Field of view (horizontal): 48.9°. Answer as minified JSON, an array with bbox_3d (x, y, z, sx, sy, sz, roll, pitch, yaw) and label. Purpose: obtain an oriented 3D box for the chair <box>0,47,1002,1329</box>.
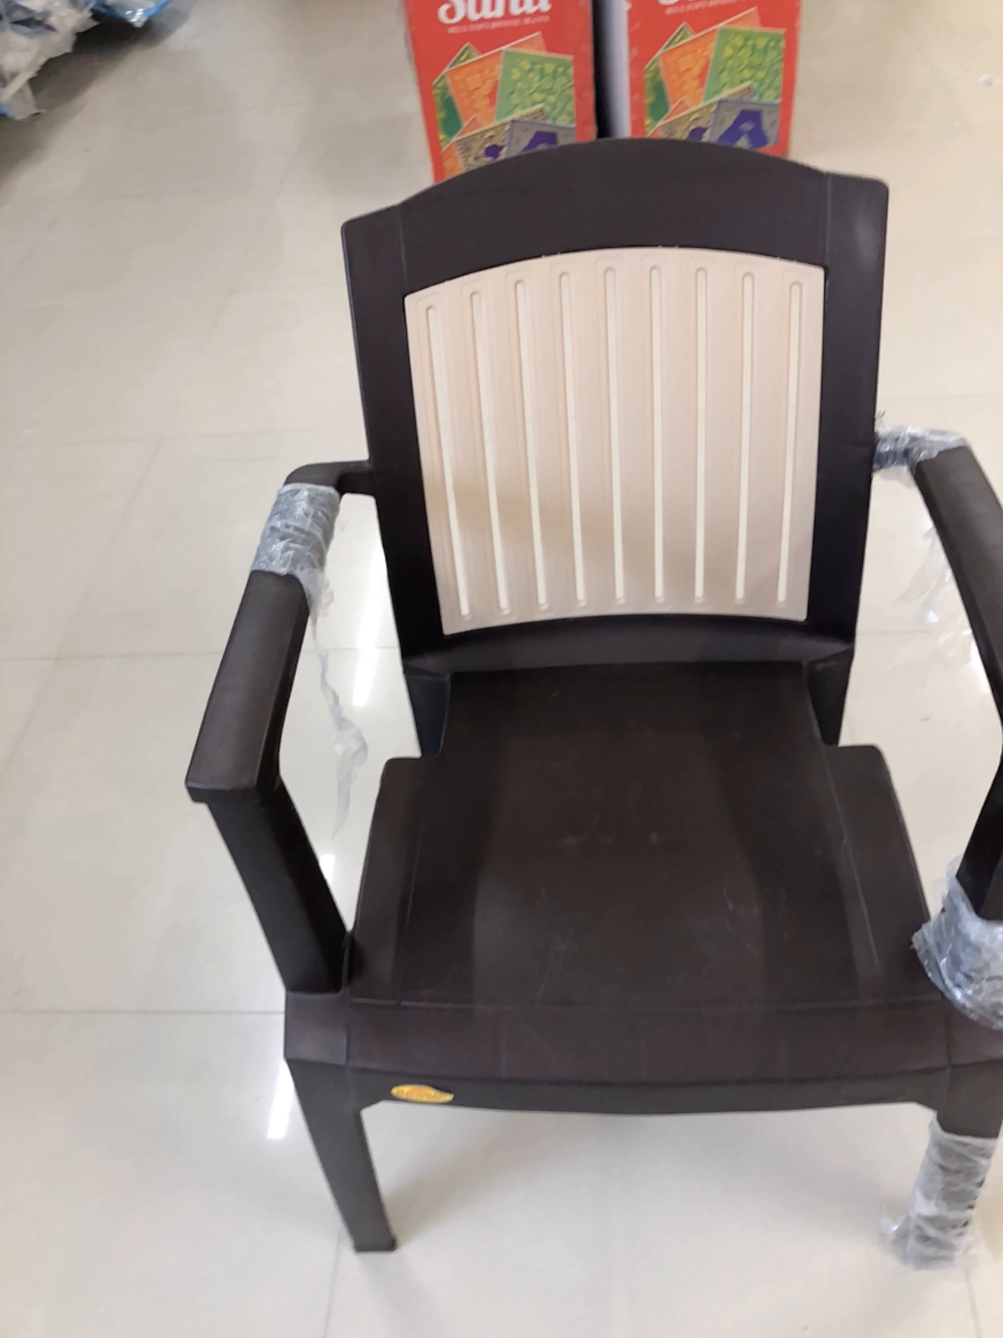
[{"bbox_3d":[0.091,0.003,0.781,0.600,0.557,0.654,-5,45,3],"label":"chair"}]
